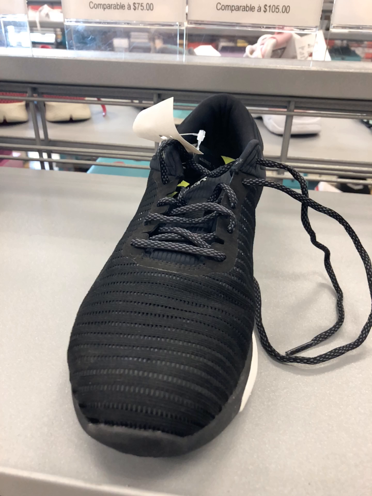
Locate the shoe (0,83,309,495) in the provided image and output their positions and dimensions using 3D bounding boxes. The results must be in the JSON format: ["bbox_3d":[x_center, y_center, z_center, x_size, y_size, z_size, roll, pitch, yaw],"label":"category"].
[{"bbox_3d":[-0.002,-0.022,0.292,0.120,0.119,0.302,5,32,6],"label":"shoe"}]
